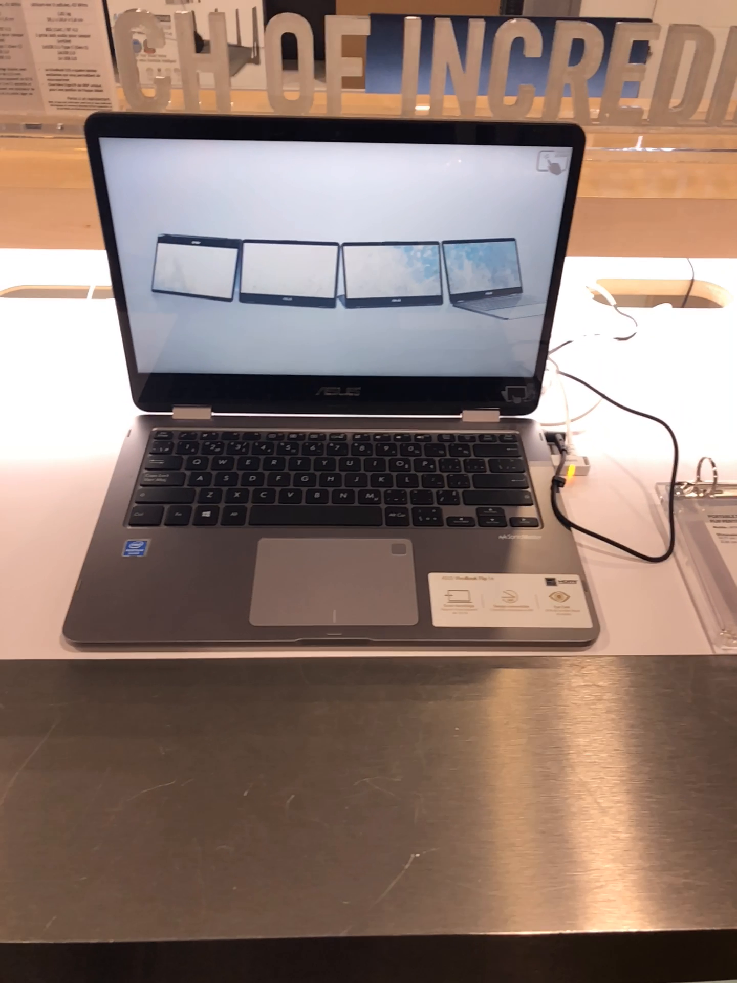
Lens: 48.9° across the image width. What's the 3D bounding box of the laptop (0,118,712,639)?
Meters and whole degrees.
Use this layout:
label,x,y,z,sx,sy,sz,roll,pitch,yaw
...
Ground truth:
label,x,y,z,sx,sy,sz,roll,pitch,yaw
laptop,-0.019,-0.066,0.468,0.303,0.211,0.211,0,42,-1
